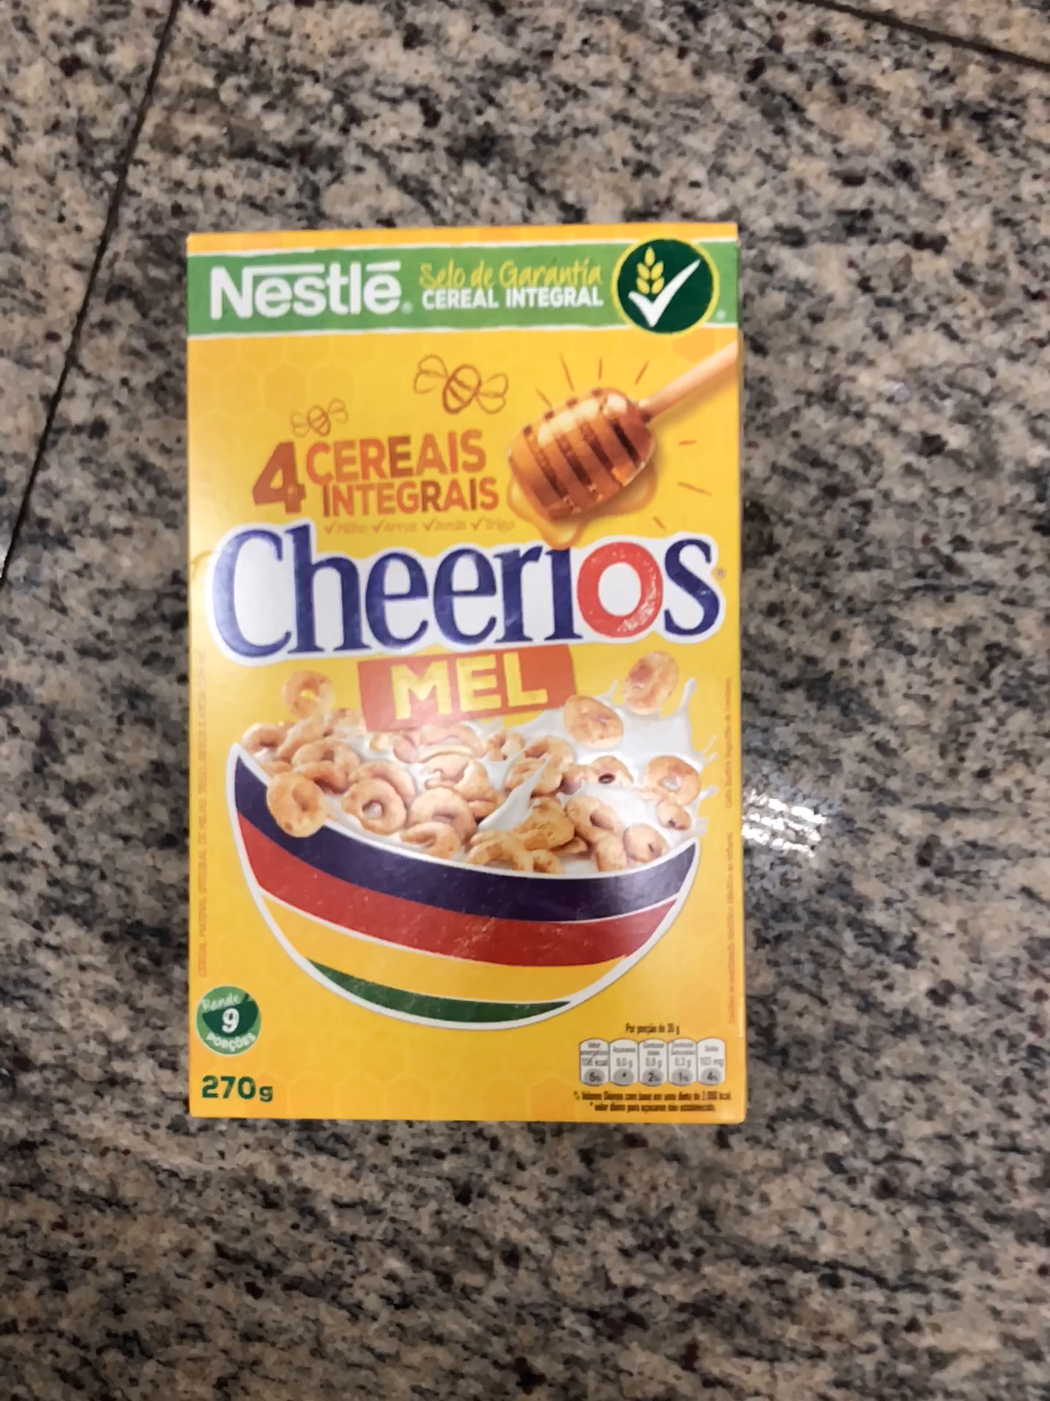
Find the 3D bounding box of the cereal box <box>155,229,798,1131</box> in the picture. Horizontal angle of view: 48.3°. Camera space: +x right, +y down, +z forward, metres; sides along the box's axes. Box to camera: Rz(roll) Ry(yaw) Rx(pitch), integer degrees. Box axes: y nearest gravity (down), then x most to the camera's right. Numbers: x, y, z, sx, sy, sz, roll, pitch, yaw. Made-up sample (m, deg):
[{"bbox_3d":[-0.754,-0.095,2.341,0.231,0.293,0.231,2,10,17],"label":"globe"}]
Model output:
[{"bbox_3d":[-0.014,-0.005,0.345,0.170,0.060,0.240,-1,88,2],"label":"cereal box"}]
